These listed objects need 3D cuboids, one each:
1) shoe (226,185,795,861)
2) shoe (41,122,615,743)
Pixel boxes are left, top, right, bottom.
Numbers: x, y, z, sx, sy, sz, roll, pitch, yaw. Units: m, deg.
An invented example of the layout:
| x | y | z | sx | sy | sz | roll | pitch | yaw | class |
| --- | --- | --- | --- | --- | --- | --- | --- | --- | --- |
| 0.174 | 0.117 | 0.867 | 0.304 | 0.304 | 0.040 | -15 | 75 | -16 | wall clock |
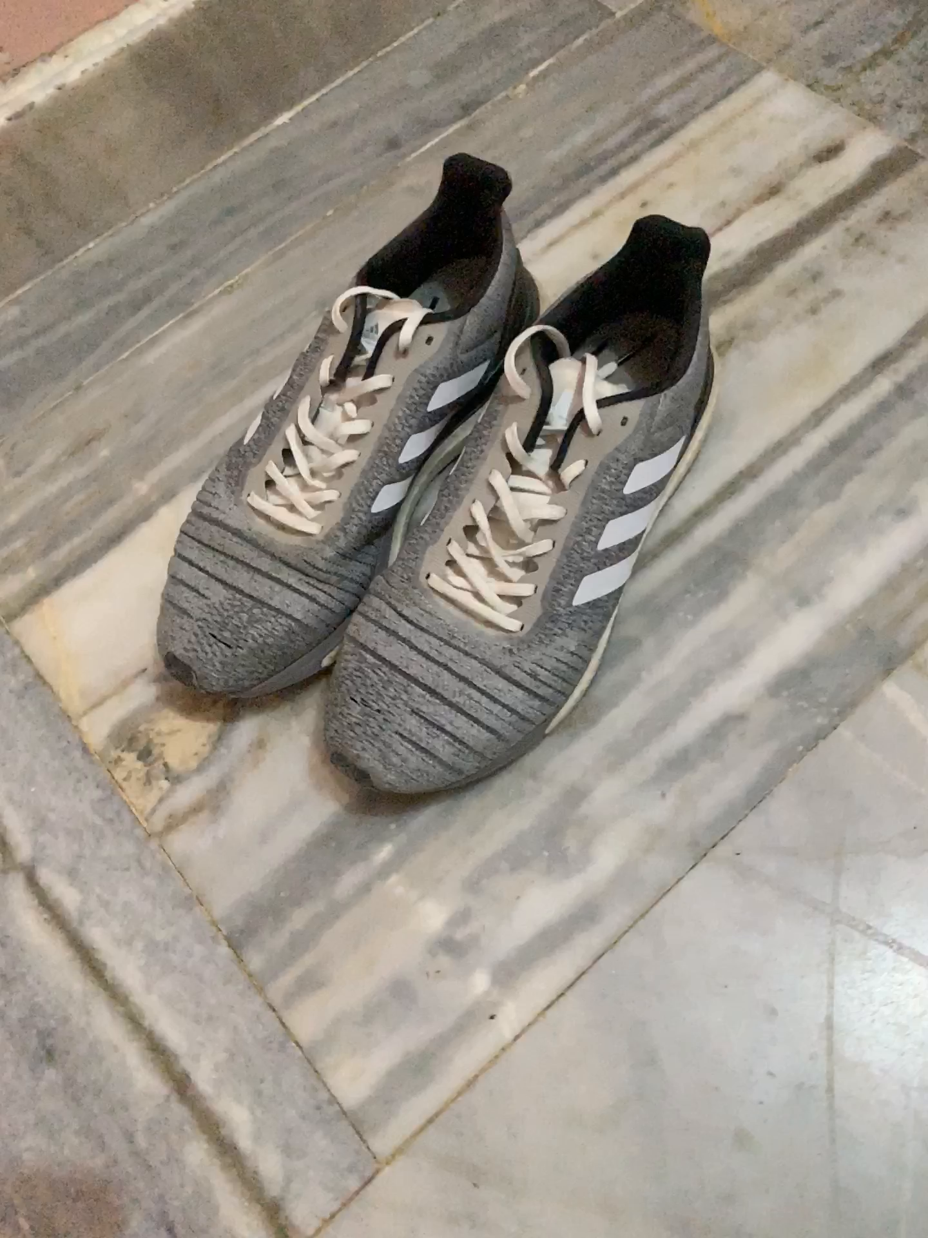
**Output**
| x | y | z | sx | sy | sz | roll | pitch | yaw | class |
| --- | --- | --- | --- | --- | --- | --- | --- | --- | --- |
| 0.034 | -0.056 | 0.456 | 0.120 | 0.090 | 0.300 | 25 | 70 | 17 | shoe |
| -0.050 | -0.104 | 0.483 | 0.110 | 0.080 | 0.310 | 29 | 71 | 19 | shoe |
